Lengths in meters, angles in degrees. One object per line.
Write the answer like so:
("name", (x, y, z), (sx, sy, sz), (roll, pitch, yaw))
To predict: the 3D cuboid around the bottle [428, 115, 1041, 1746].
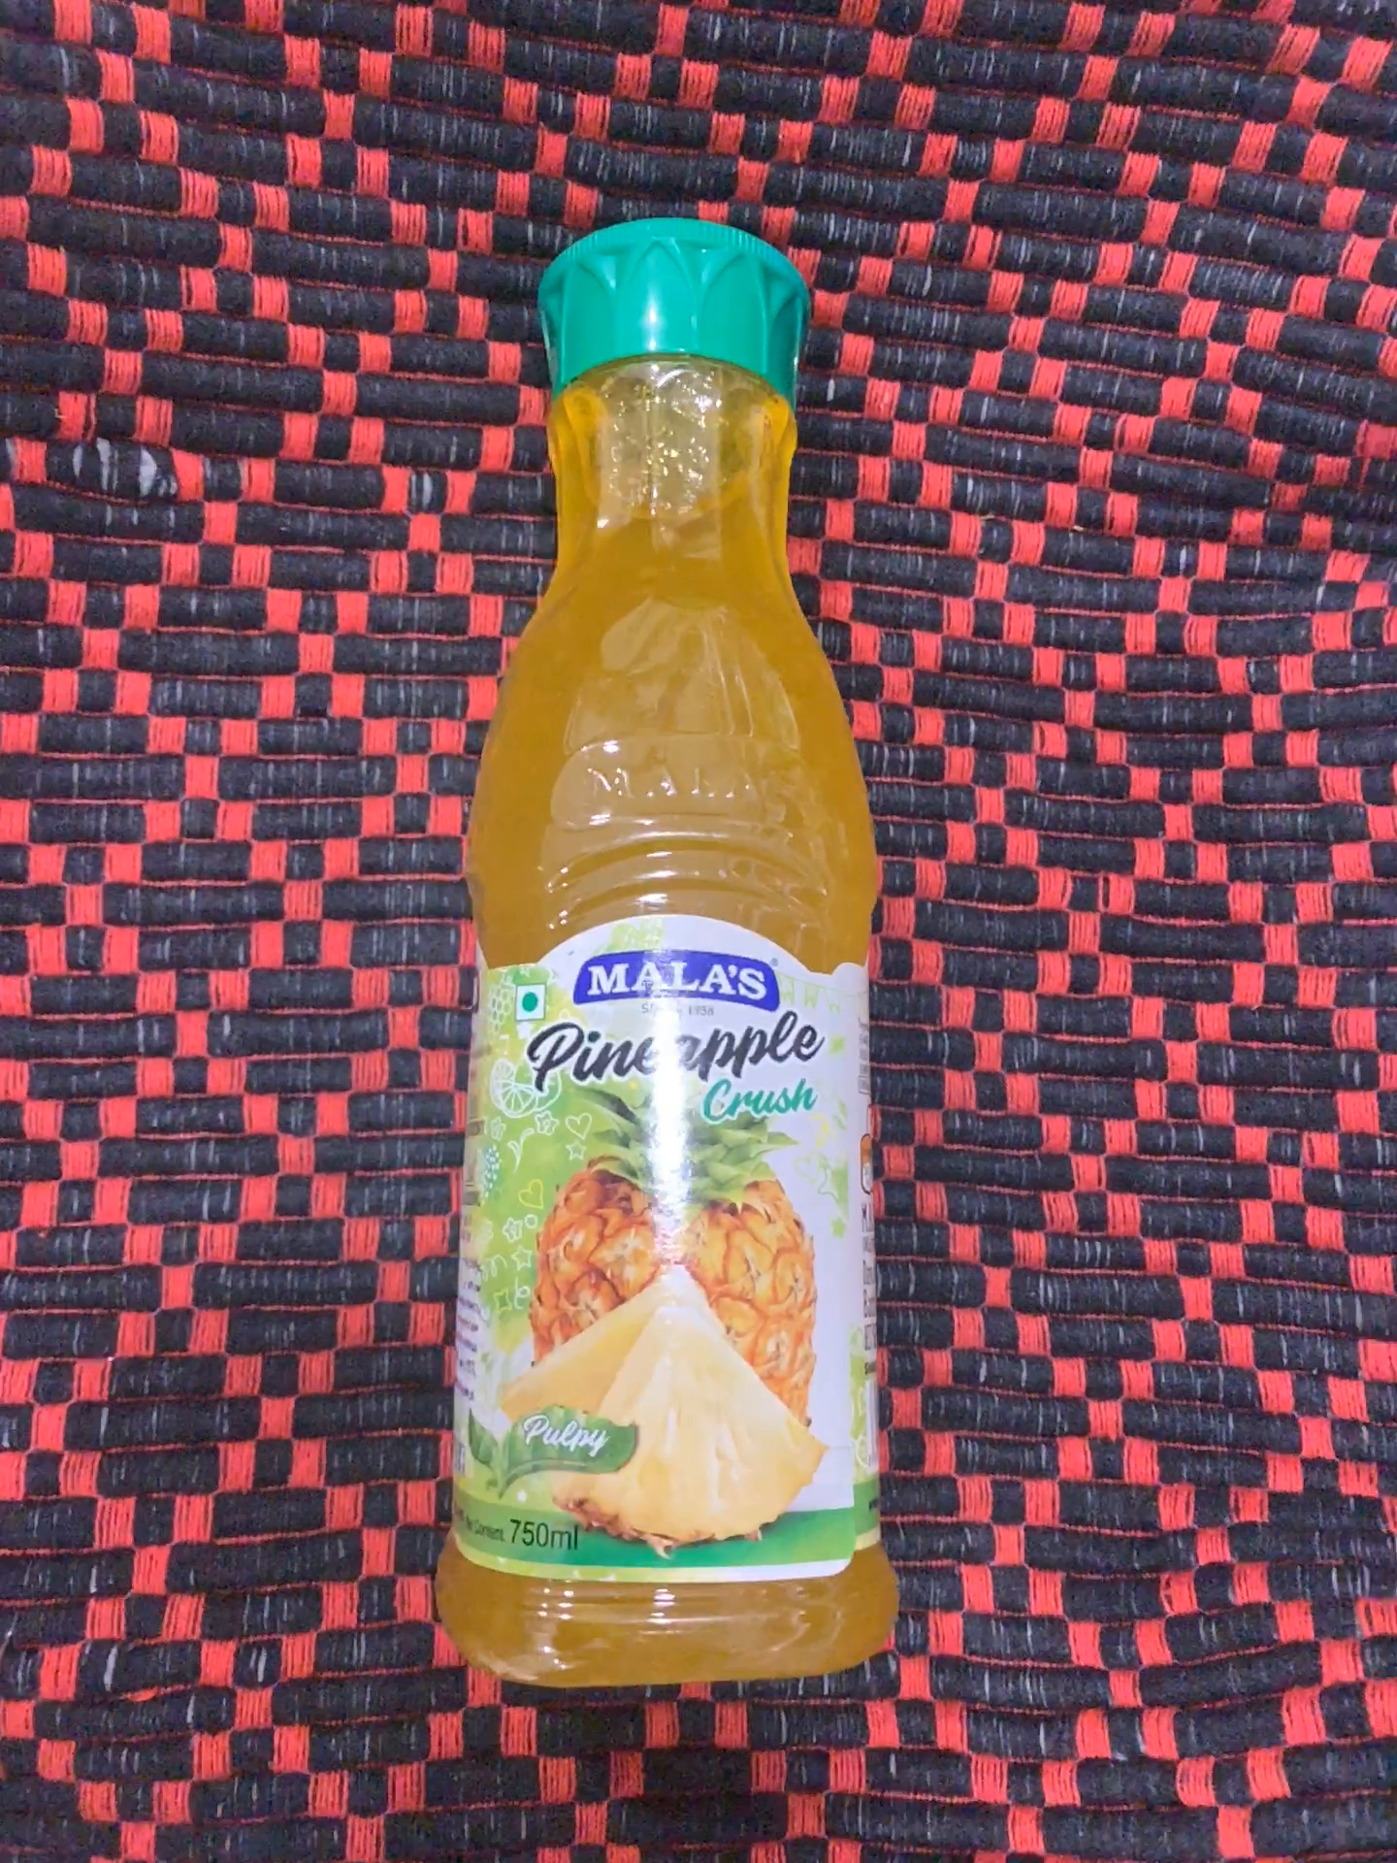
("bottle", (0.000, -0.005, 0.241), (0.080, 0.070, 0.230), (1, 79, -9))
